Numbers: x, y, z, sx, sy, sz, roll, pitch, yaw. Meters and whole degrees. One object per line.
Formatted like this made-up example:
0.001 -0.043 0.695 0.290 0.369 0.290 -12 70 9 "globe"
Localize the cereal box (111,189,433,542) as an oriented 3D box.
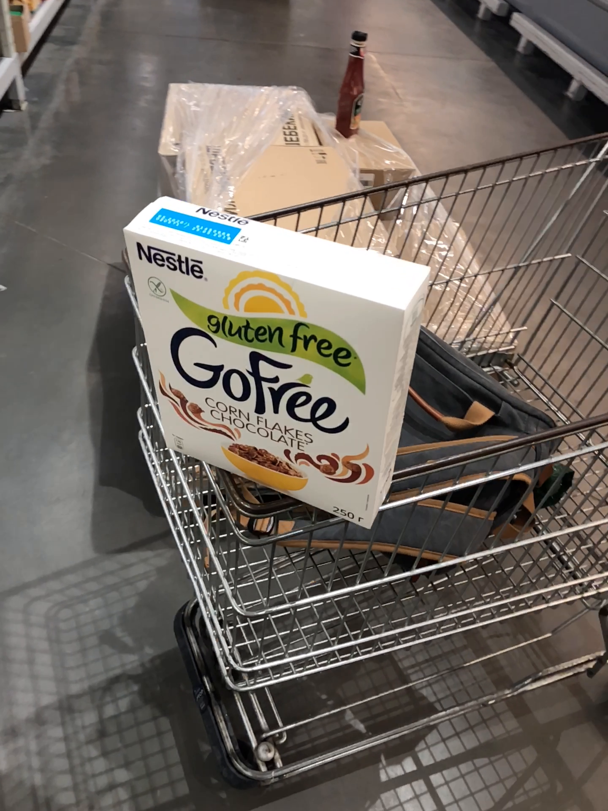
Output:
-0.026 -0.021 0.496 0.200 0.228 0.050 20 47 17 "cereal box"
